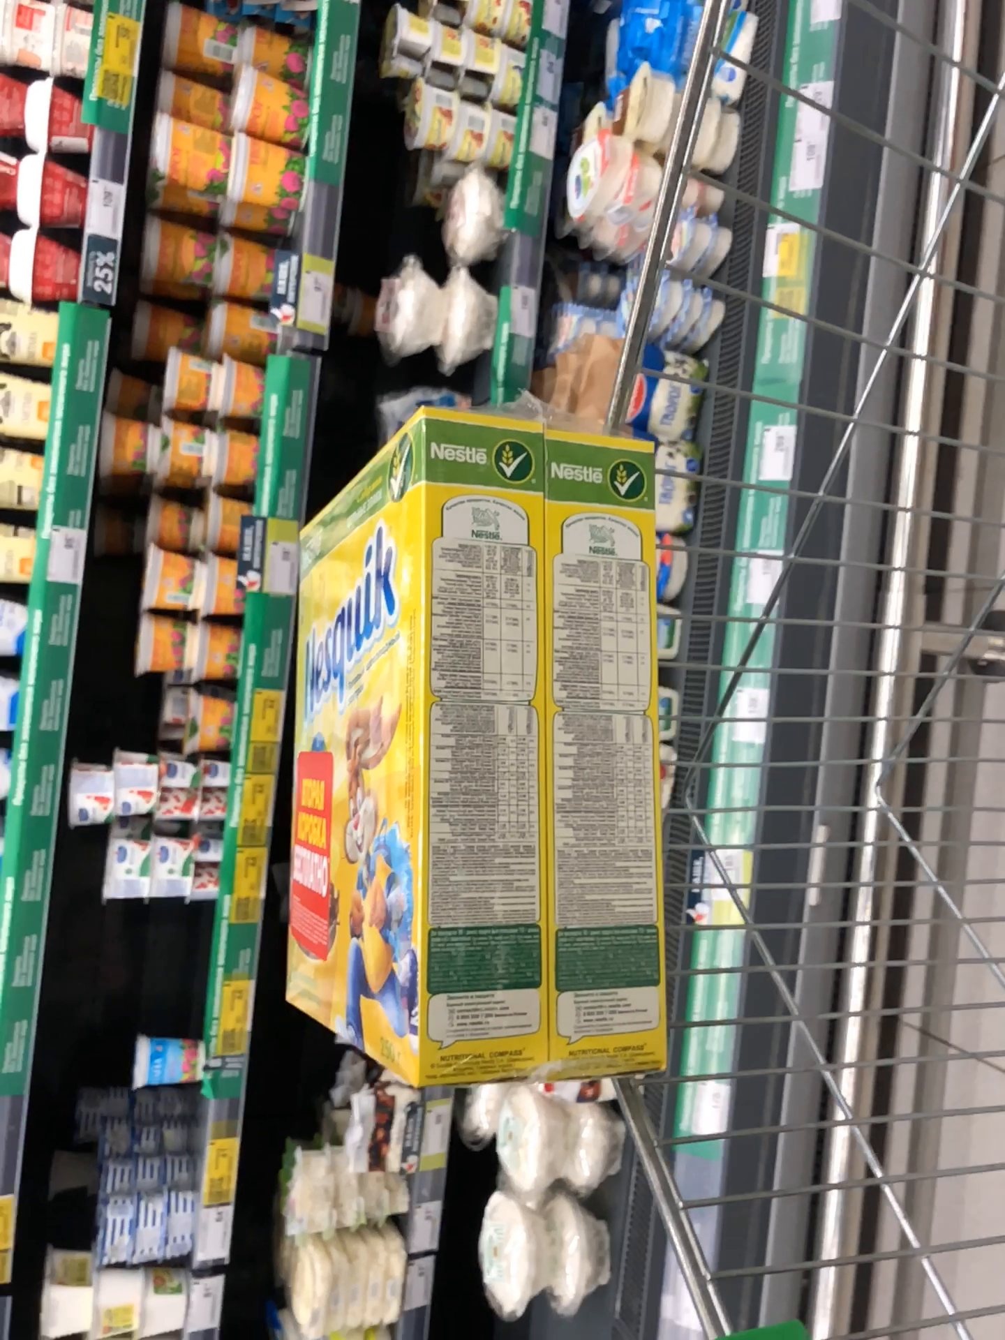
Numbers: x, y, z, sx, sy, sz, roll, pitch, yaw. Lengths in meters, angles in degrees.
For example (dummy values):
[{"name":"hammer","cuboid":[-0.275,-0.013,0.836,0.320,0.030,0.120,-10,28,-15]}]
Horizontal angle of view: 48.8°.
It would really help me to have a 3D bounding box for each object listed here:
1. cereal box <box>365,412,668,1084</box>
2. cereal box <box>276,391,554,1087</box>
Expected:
[{"name":"cereal box","cuboid":[-0.004,0.037,0.501,0.211,0.050,0.240,163,110,-65]},{"name":"cereal box","cuboid":[-0.047,0.033,0.487,0.211,0.050,0.240,163,110,-65]}]
